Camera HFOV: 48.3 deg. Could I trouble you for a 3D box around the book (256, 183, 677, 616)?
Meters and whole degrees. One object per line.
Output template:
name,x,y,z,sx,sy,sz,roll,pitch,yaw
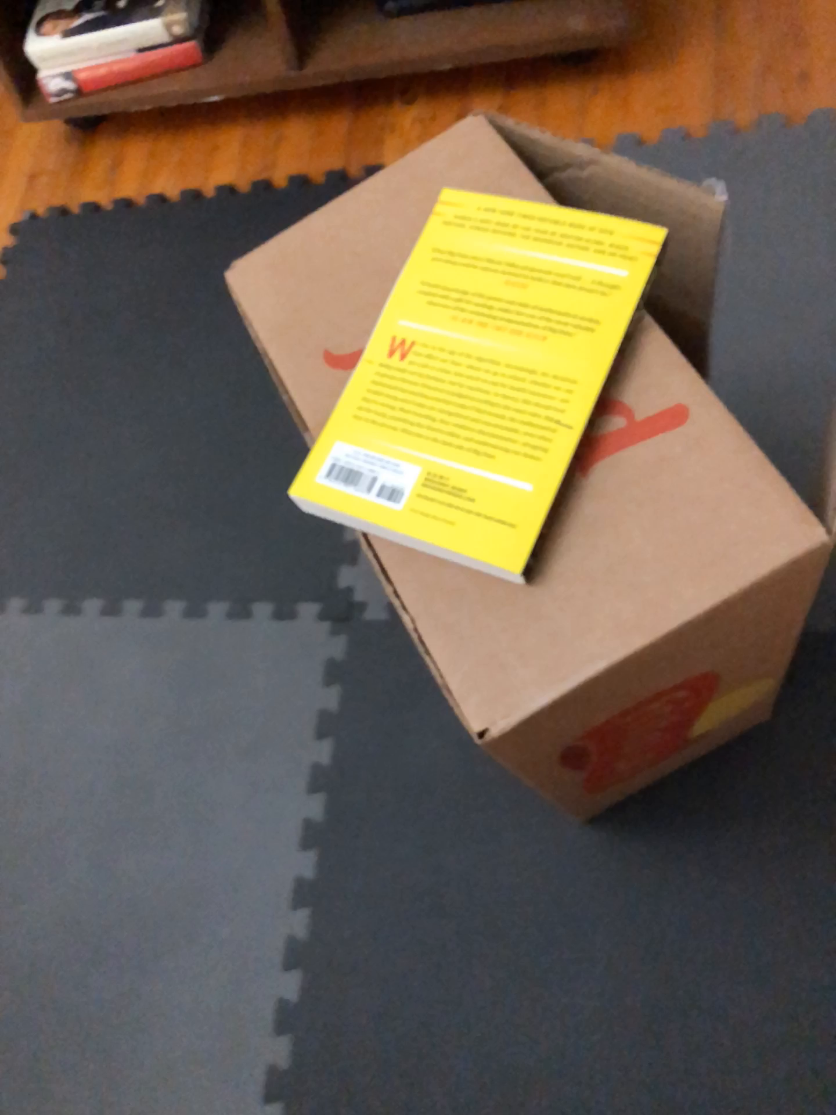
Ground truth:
book,0.027,-0.095,0.496,0.150,0.020,0.220,19,75,23
